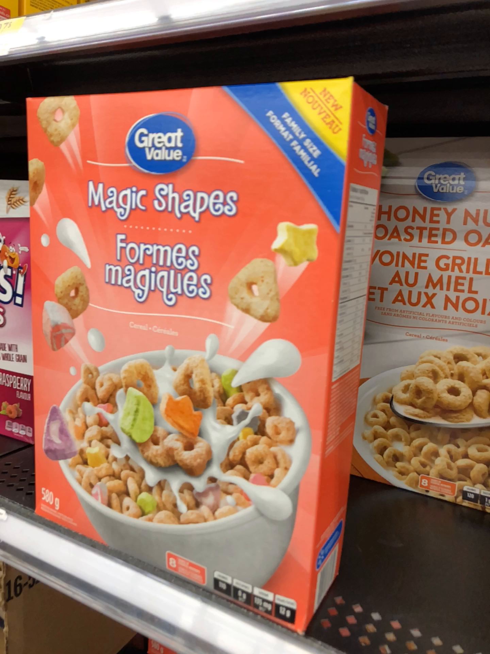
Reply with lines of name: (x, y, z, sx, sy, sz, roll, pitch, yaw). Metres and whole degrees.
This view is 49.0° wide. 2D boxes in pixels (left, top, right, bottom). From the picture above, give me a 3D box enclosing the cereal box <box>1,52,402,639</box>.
cereal box: (-0.045, 0.003, 0.375, 0.260, 0.319, 0.070, 9, 13, 28)
